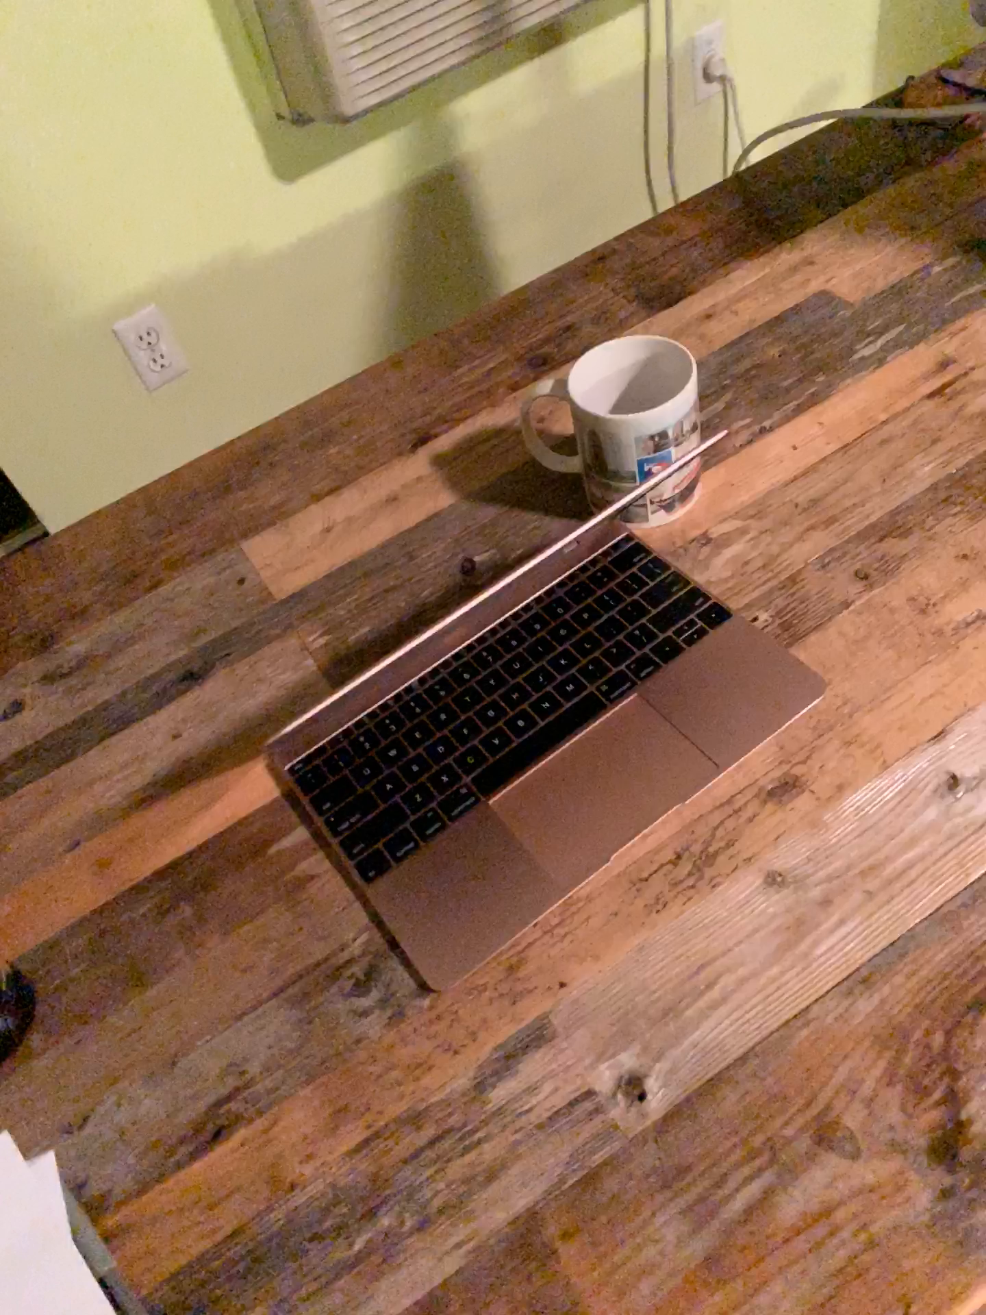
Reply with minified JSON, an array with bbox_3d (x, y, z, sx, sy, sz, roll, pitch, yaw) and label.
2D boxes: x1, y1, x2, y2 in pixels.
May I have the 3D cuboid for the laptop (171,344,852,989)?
[{"bbox_3d":[0.015,-0.005,0.557,0.278,0.145,0.194,-34,53,-14],"label":"laptop"}]
